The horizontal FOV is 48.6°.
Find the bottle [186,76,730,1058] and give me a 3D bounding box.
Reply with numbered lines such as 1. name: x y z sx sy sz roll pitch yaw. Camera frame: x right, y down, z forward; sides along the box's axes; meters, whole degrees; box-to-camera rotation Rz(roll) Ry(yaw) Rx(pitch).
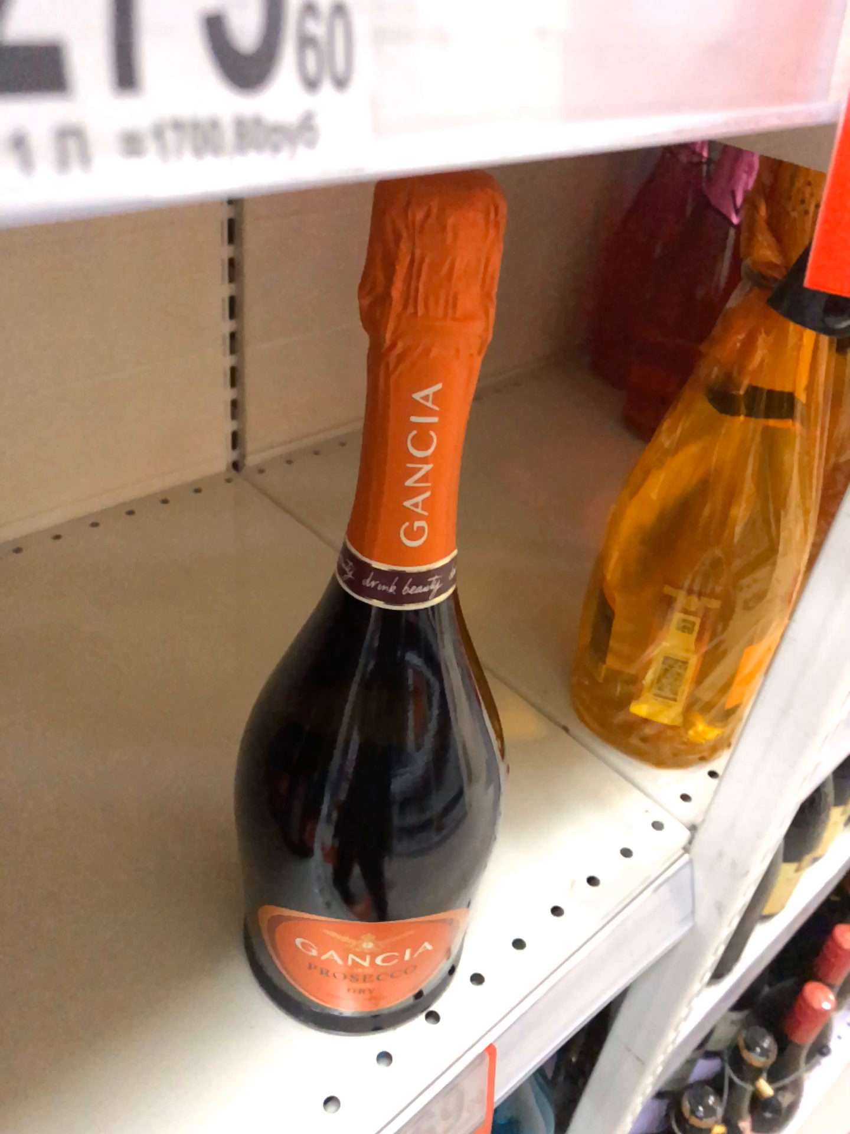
1. bottle: -0.013 0.028 0.302 0.100 0.308 0.101 5 36 -4
